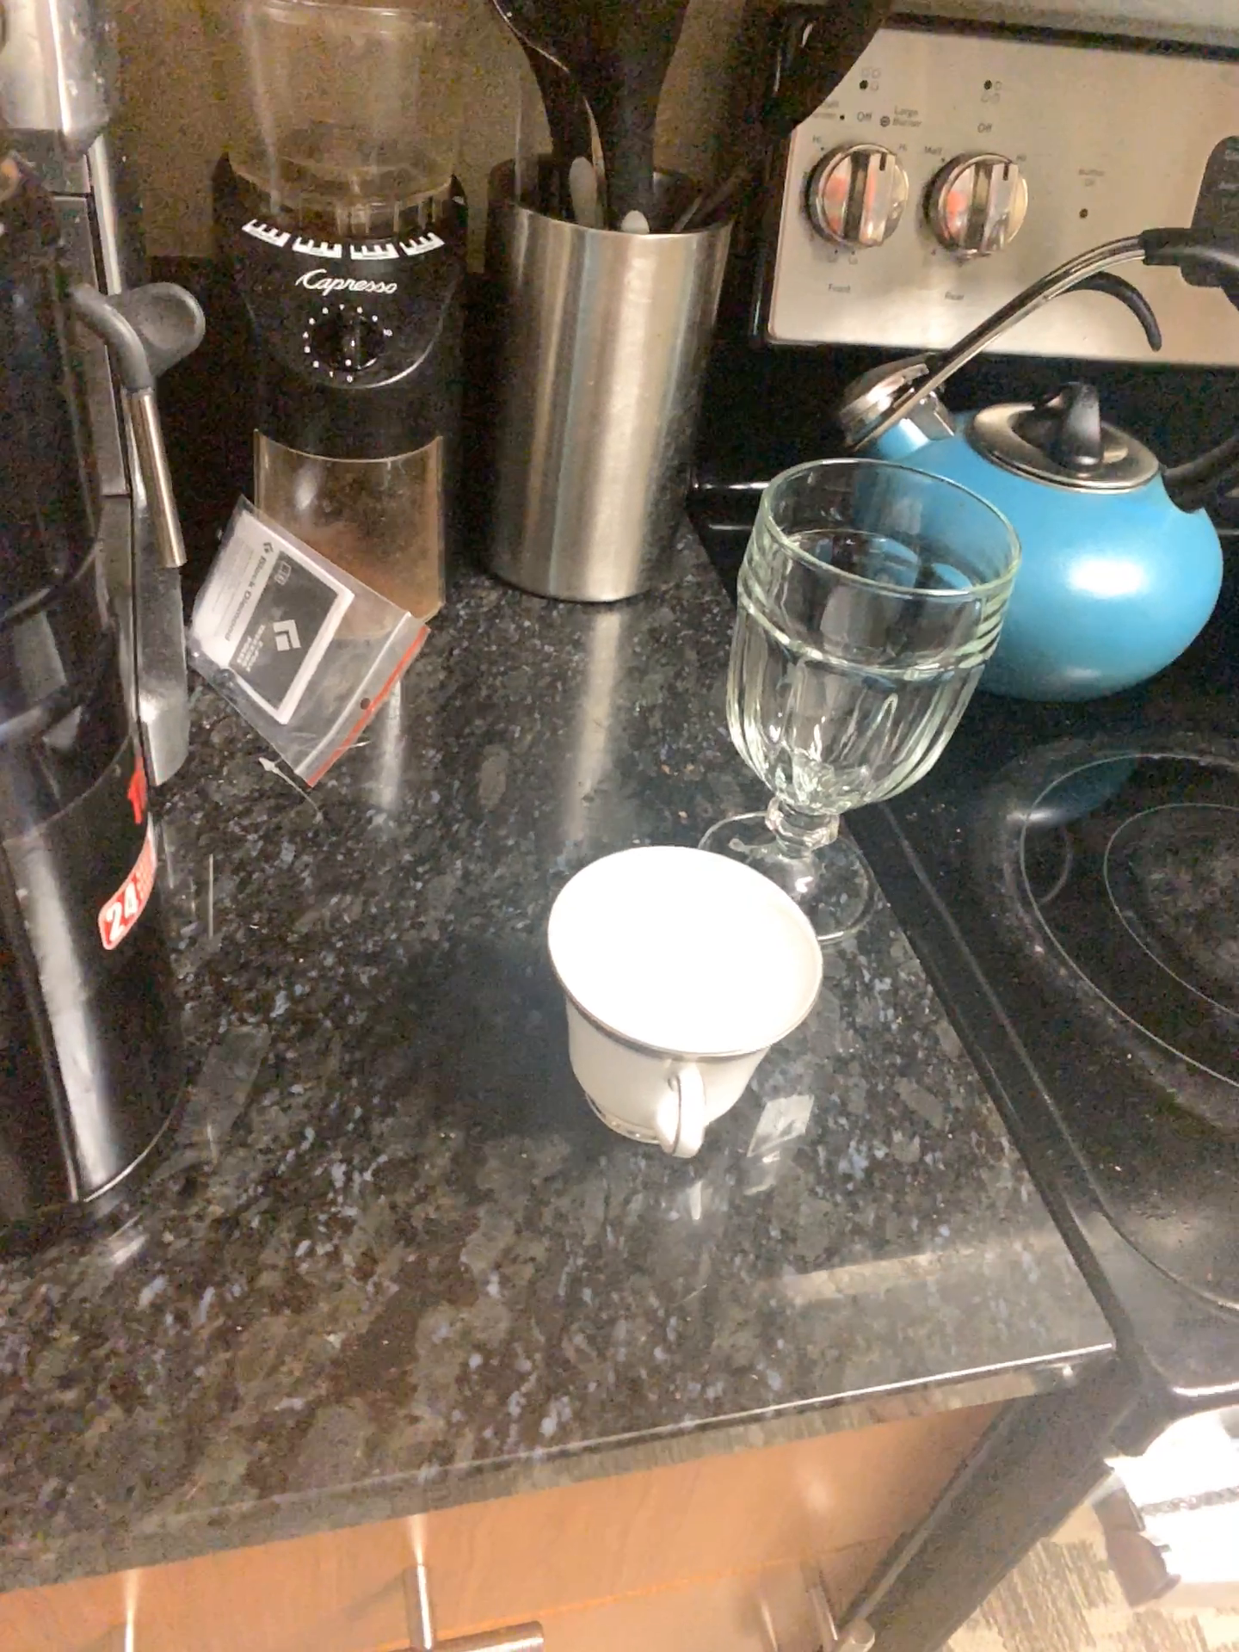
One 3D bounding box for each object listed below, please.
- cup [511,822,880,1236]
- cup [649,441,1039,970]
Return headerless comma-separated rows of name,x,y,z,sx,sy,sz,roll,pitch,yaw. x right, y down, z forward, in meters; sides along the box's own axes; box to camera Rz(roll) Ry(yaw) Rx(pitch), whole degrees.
cup,0.019,0.065,0.421,0.100,0.070,0.111,4,41,-6
cup,0.075,-0.044,0.506,0.100,0.169,0.111,4,41,-6
